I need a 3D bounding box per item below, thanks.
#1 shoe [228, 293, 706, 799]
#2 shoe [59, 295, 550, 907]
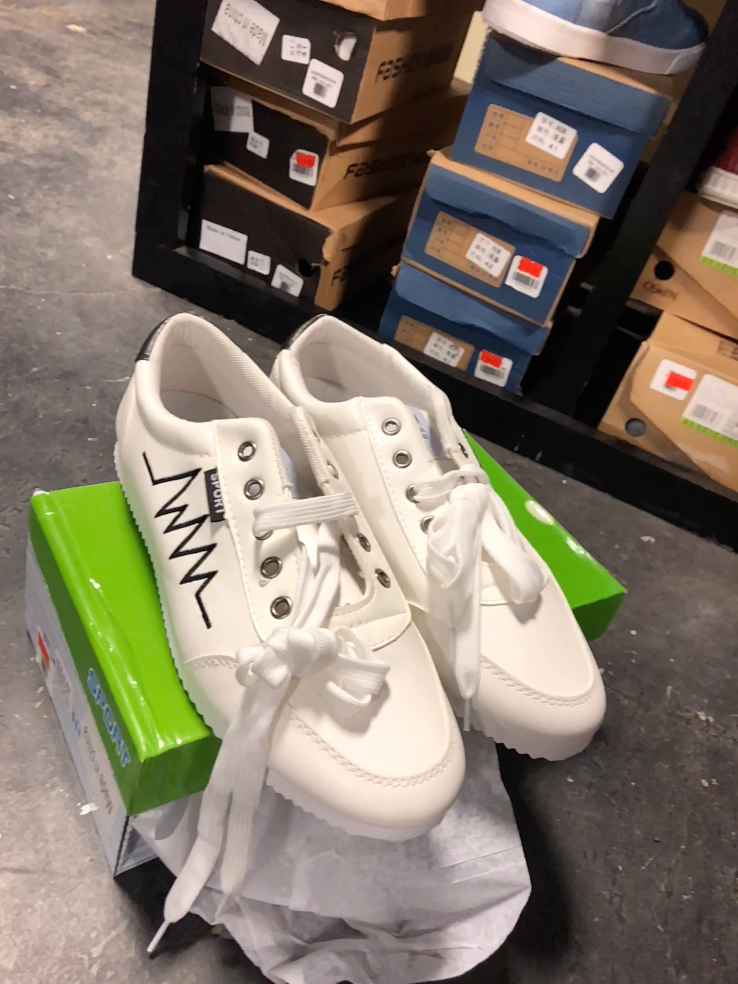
[{"bbox_3d":[0.026,0.003,0.430,0.090,0.079,0.281,-14,47,-29],"label":"shoe"},{"bbox_3d":[-0.053,0.019,0.369,0.090,0.079,0.281,-14,47,-29],"label":"shoe"}]
